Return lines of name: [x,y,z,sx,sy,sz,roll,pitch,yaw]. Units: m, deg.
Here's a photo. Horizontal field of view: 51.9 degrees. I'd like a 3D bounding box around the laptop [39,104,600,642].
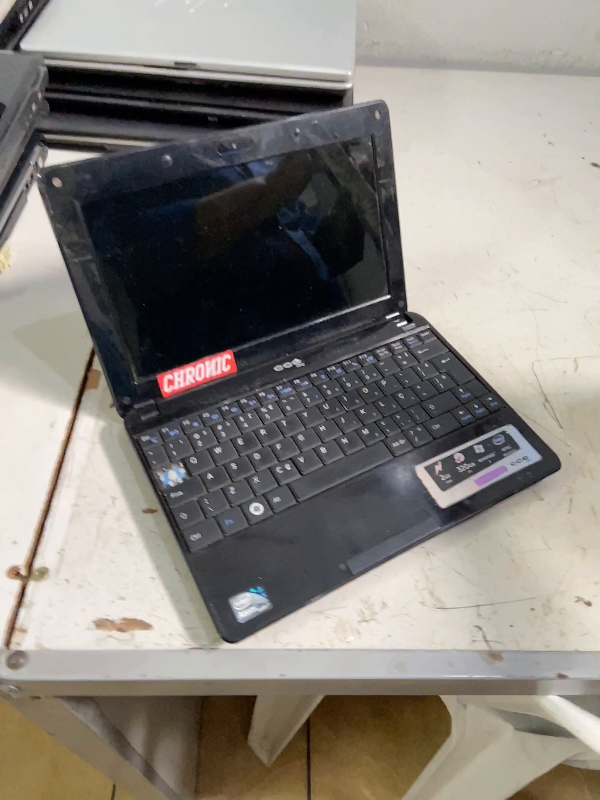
laptop: [0.011,-0.044,0.400,0.254,0.137,0.258,-21,56,-20]
